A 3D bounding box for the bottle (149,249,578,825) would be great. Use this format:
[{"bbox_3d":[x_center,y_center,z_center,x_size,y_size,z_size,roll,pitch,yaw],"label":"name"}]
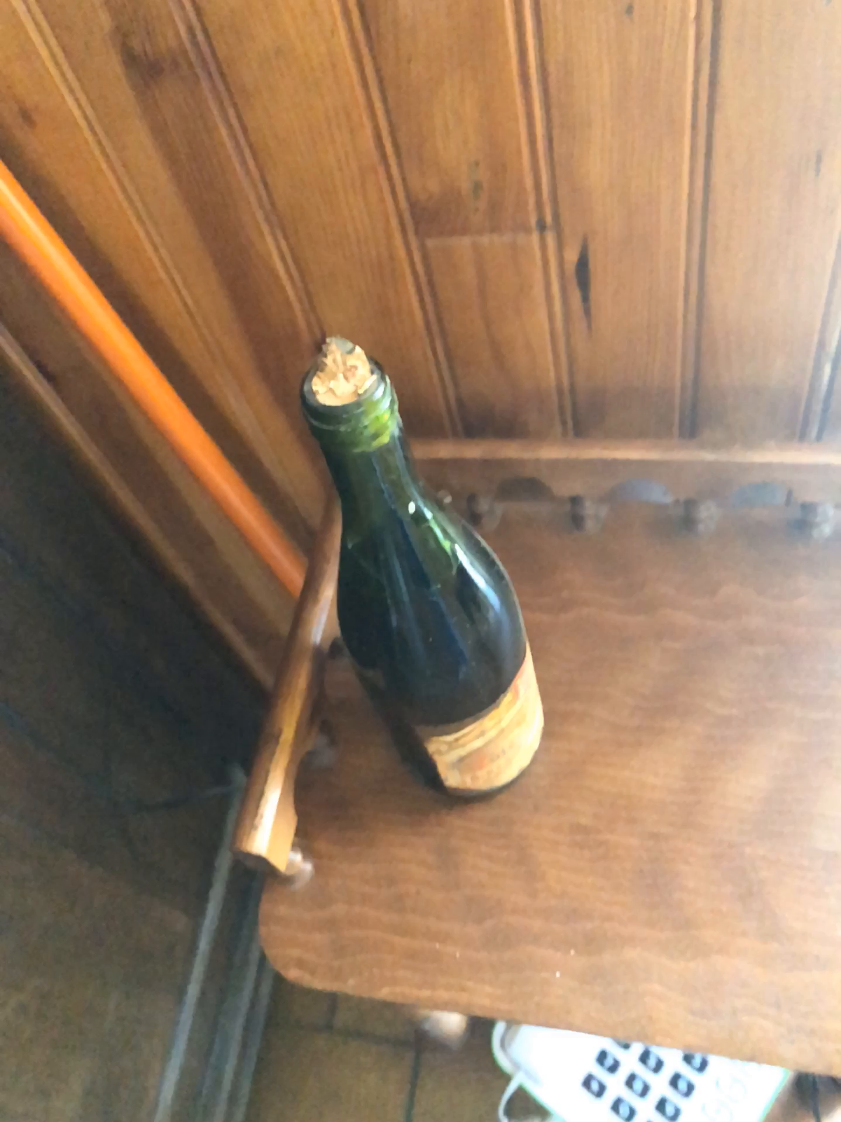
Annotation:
[{"bbox_3d":[0.004,0.014,0.392,0.090,0.279,0.090,-6,57,9],"label":"bottle"}]
